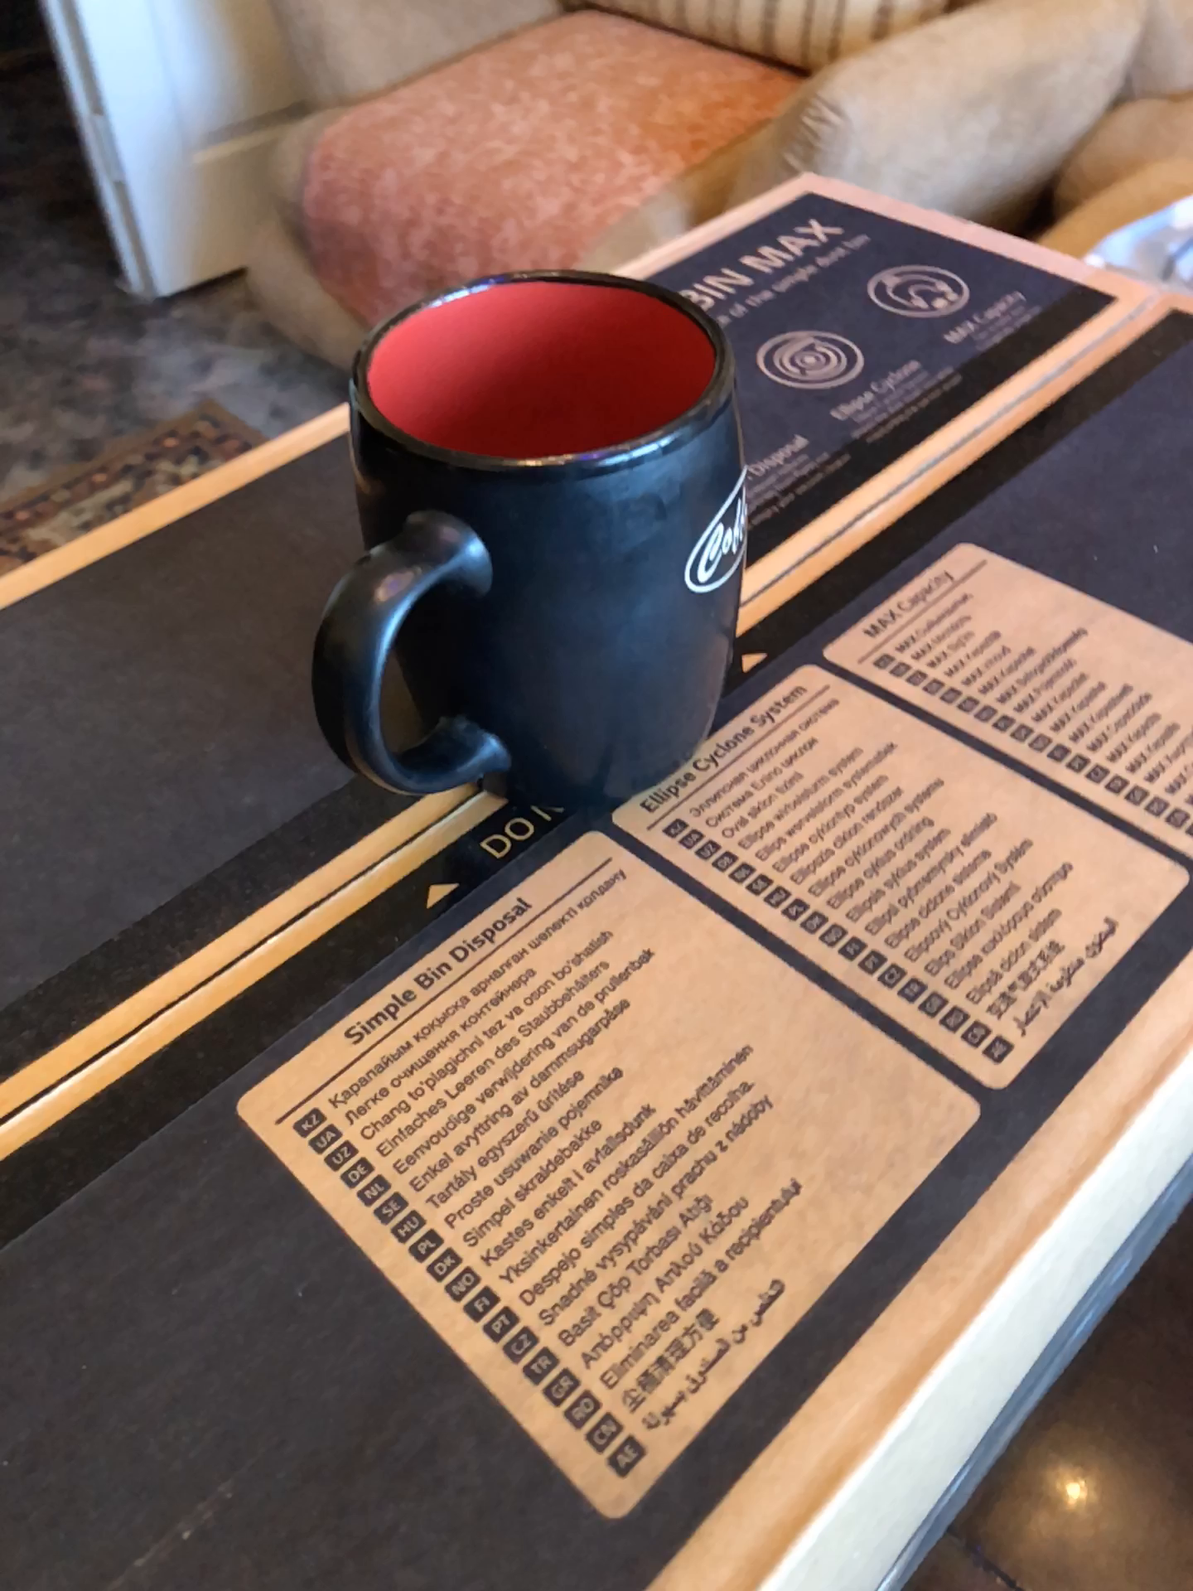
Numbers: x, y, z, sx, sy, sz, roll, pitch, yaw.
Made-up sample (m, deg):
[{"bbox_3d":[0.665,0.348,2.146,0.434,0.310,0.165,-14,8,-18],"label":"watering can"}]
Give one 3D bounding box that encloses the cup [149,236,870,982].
[{"bbox_3d":[-0.011,-0.046,0.295,0.090,0.090,0.120,24,53,22],"label":"cup"}]
